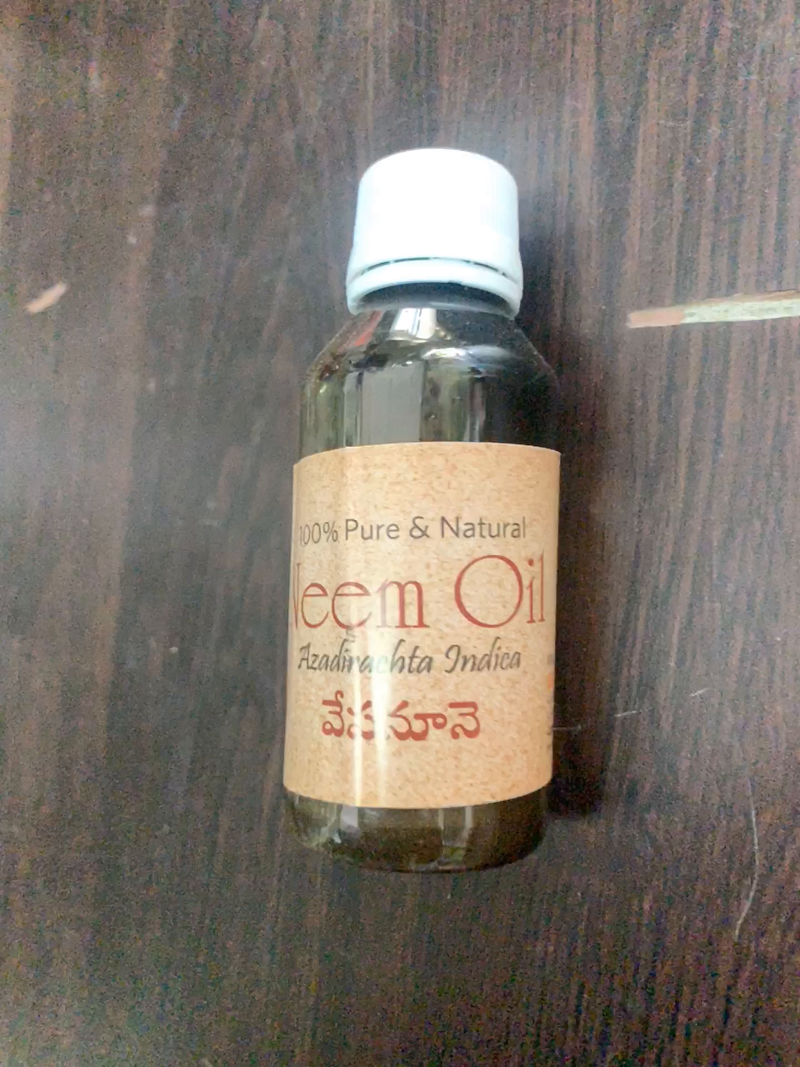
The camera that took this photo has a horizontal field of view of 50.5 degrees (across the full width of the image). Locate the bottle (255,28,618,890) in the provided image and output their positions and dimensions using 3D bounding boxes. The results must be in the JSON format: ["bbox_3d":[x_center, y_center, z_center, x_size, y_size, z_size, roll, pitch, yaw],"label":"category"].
[{"bbox_3d":[0.010,-0.011,0.144,0.050,0.040,0.120,0,85,18],"label":"bottle"}]
